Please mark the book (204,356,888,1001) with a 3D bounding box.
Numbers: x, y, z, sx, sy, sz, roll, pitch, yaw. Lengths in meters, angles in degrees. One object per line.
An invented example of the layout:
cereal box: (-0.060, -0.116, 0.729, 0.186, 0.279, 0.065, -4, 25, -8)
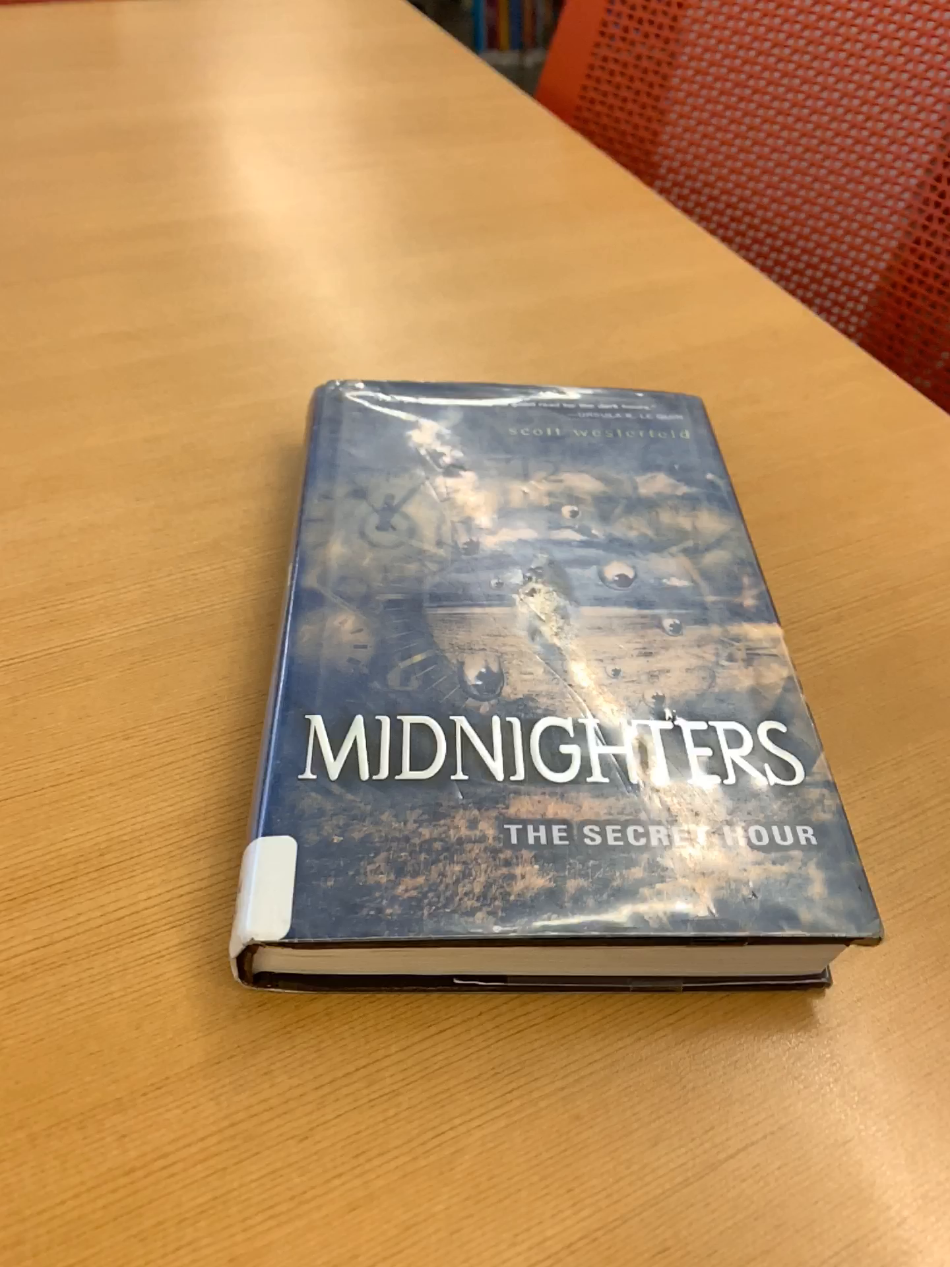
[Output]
book: (0.013, -0.004, 0.302, 0.151, 0.036, 0.221, 2, 48, -4)
